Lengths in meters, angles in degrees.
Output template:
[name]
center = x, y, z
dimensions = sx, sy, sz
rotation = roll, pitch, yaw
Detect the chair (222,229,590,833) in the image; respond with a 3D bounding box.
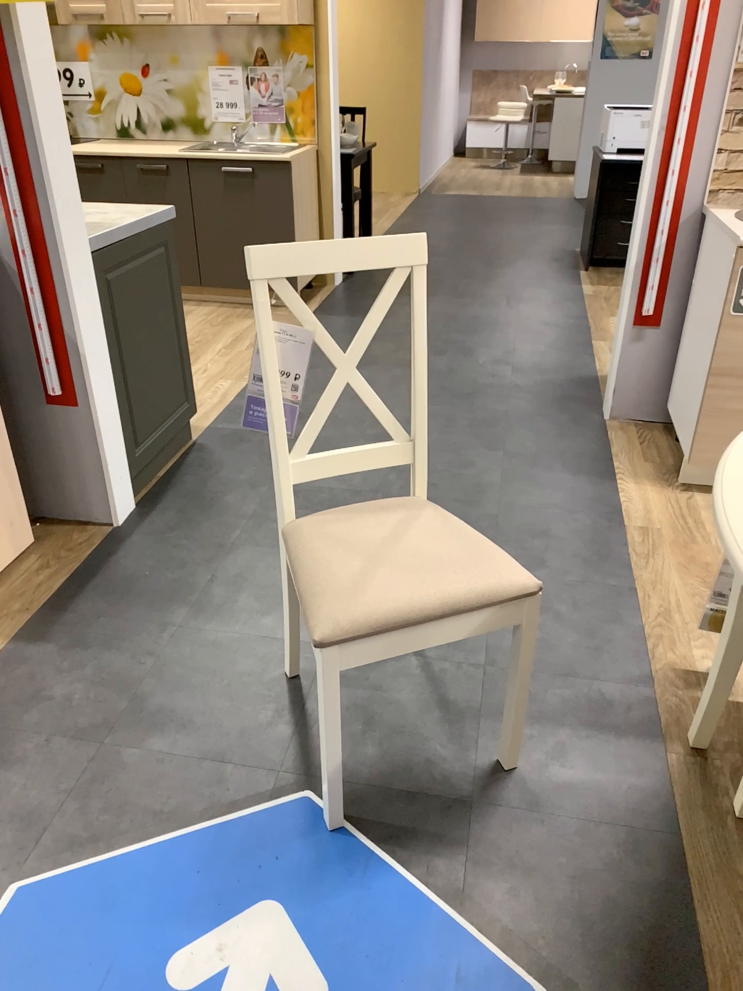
[chair]
center = 0.020, 0.054, 1.498
dimensions = 0.435, 0.989, 0.530
rotation = -11, 31, -18
